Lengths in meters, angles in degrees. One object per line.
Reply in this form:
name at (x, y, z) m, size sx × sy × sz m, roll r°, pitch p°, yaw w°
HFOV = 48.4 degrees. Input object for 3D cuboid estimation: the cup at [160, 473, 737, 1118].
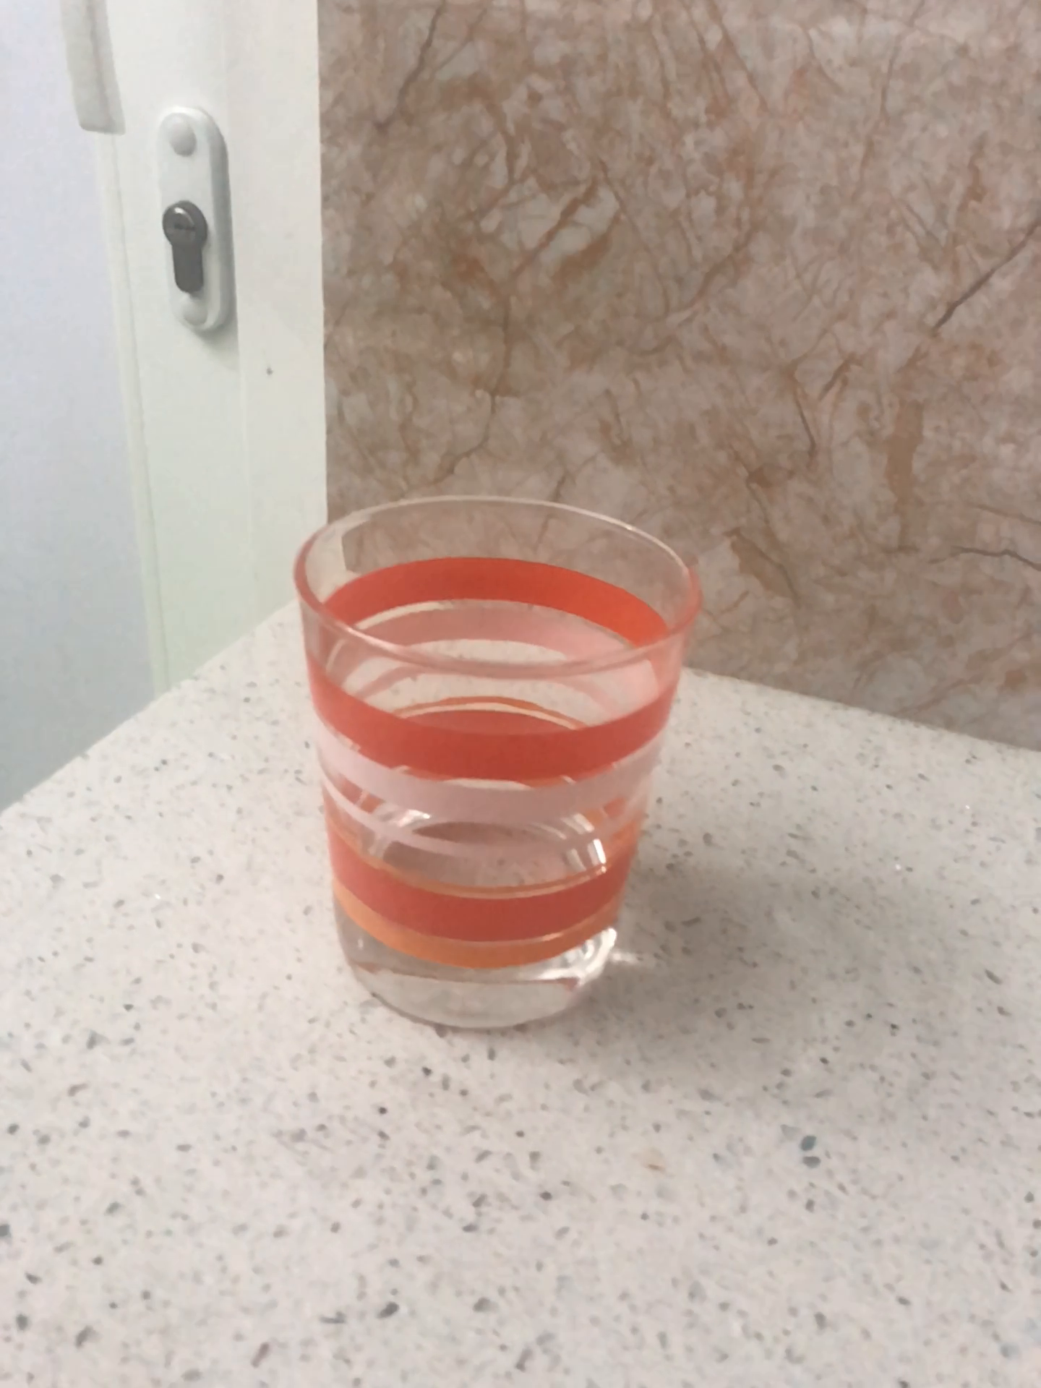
cup at (-0.010, 0.016, 0.242) m, size 0.090 × 0.090 × 0.080 m, roll 10°, pitch 30°, yaw 10°
